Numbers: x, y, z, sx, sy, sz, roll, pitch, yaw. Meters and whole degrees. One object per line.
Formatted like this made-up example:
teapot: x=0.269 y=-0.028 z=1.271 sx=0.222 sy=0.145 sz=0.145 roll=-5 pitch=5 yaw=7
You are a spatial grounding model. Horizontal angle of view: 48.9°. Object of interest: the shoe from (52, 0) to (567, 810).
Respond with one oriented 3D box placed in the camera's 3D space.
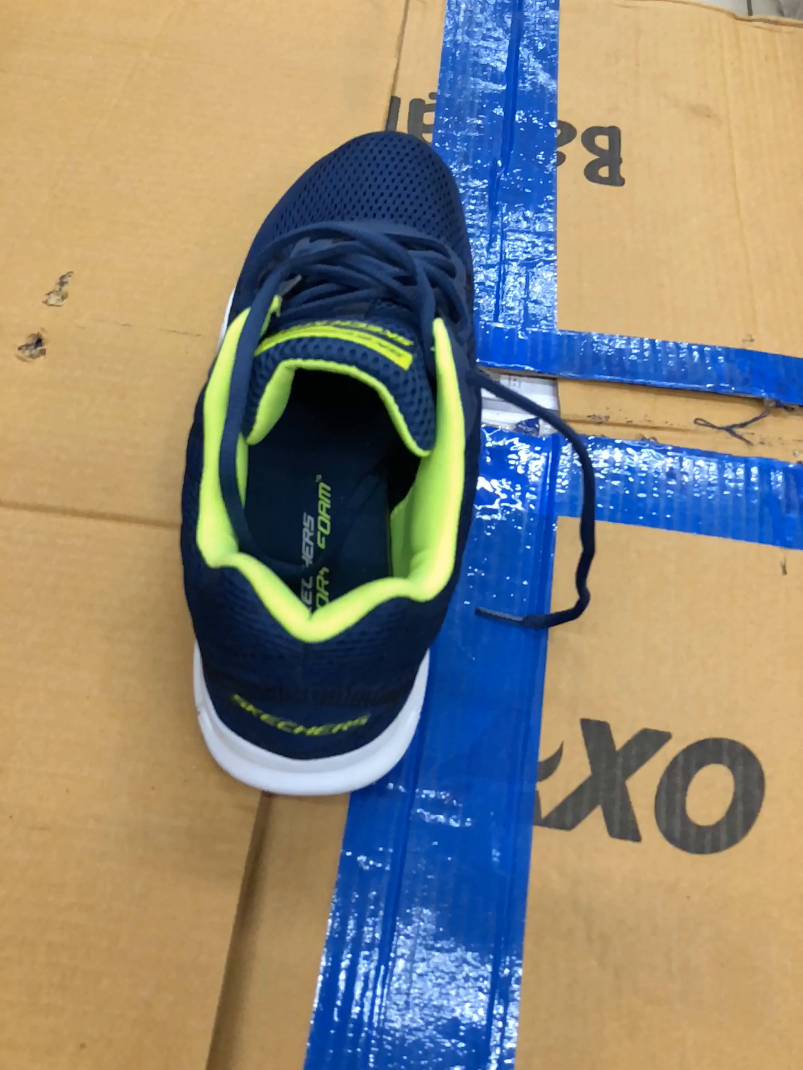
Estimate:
shoe: x=-0.014 y=-0.067 z=0.312 sx=0.110 sy=0.129 sz=0.291 roll=5 pitch=63 yaw=-2
